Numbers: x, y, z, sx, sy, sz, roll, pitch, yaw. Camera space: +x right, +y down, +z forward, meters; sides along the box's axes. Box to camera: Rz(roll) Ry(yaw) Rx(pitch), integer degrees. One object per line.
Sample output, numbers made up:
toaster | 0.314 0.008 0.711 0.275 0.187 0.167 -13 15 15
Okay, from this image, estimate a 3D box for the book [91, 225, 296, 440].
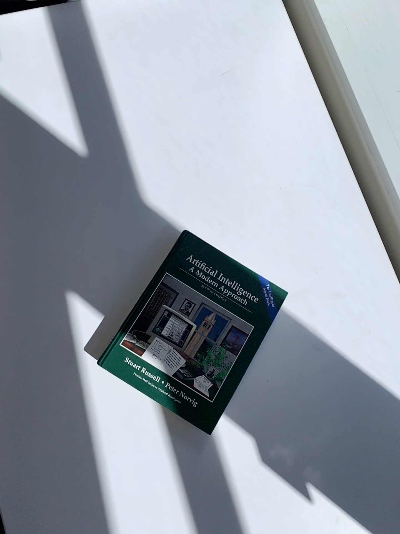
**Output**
book | -0.006 0.101 0.685 0.230 0.050 0.260 32 76 1
